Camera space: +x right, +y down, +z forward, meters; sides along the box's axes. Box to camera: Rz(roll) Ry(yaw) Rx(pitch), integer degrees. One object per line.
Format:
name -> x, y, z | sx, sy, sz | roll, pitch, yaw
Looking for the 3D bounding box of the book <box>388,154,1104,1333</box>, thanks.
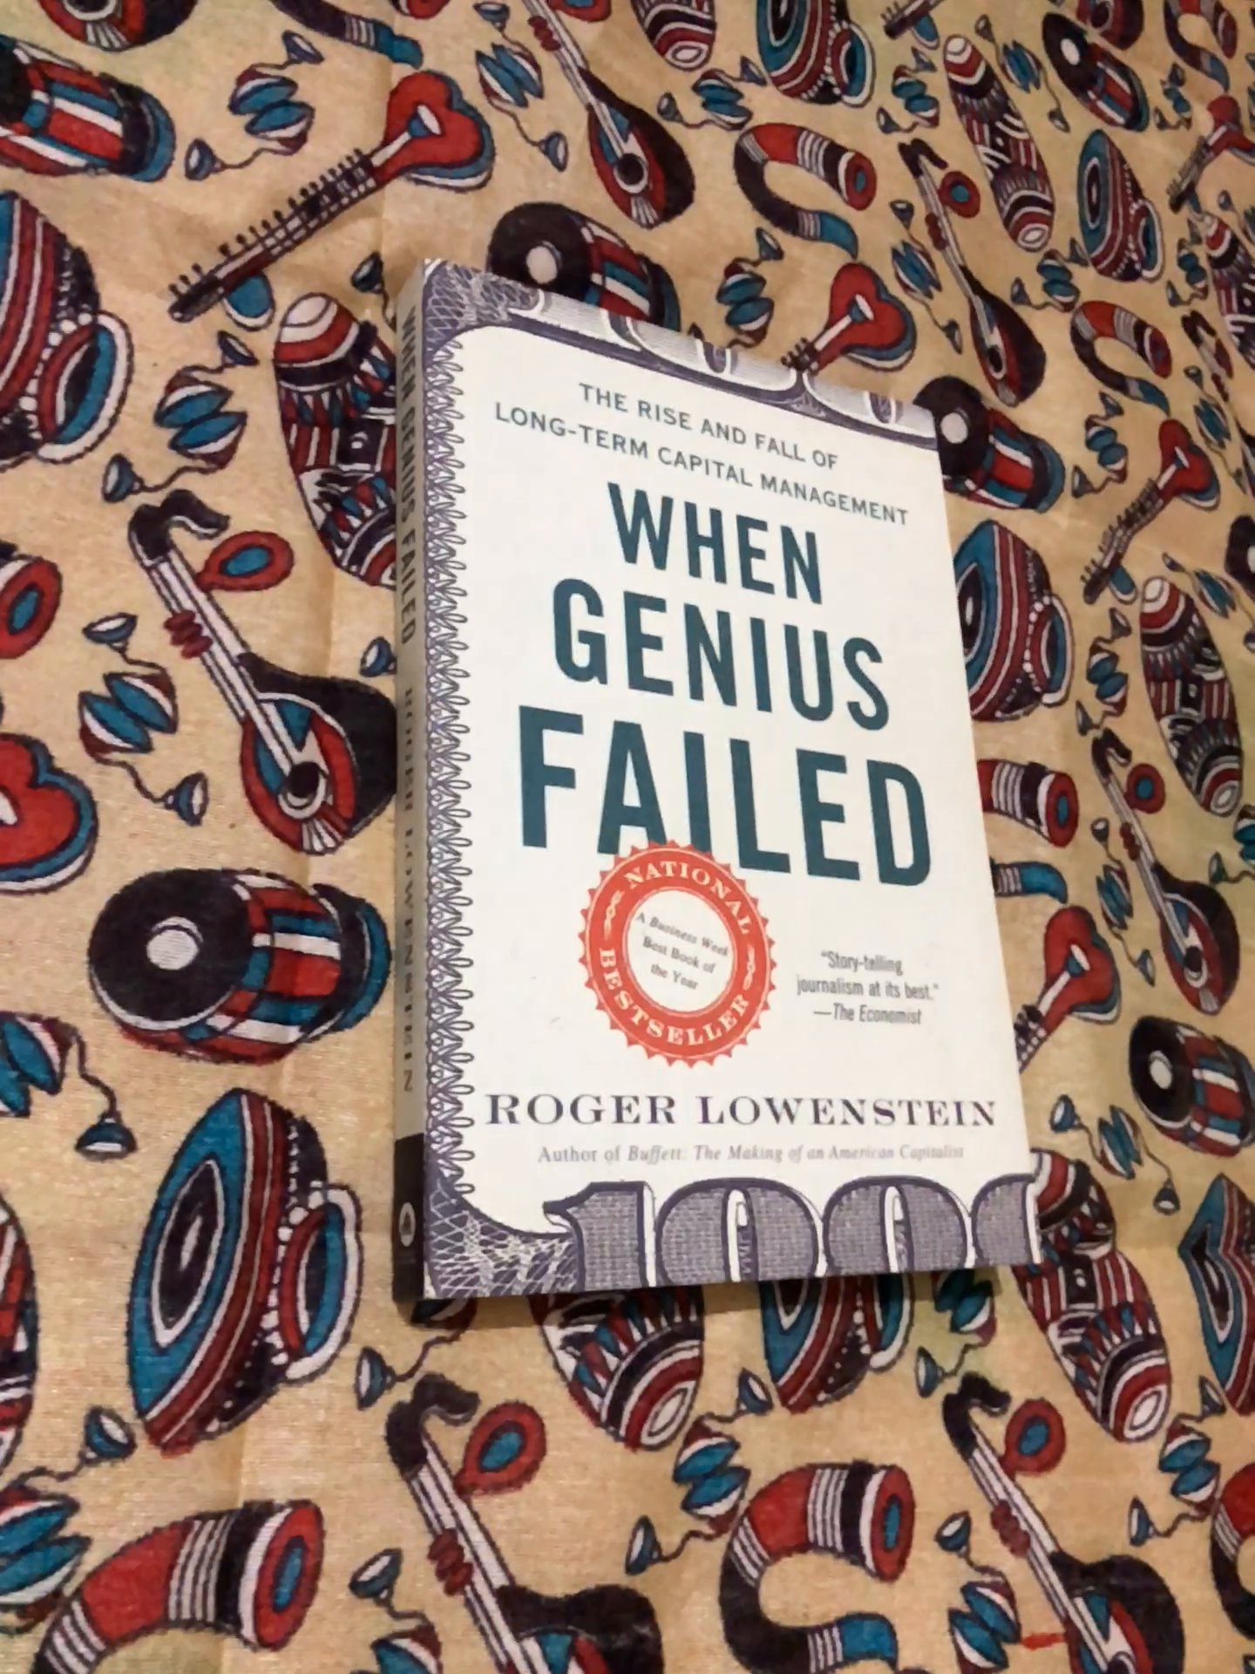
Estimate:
book -> 0.024, -0.018, 0.292 | 0.141, 0.030, 0.220 | 8, 70, -29
